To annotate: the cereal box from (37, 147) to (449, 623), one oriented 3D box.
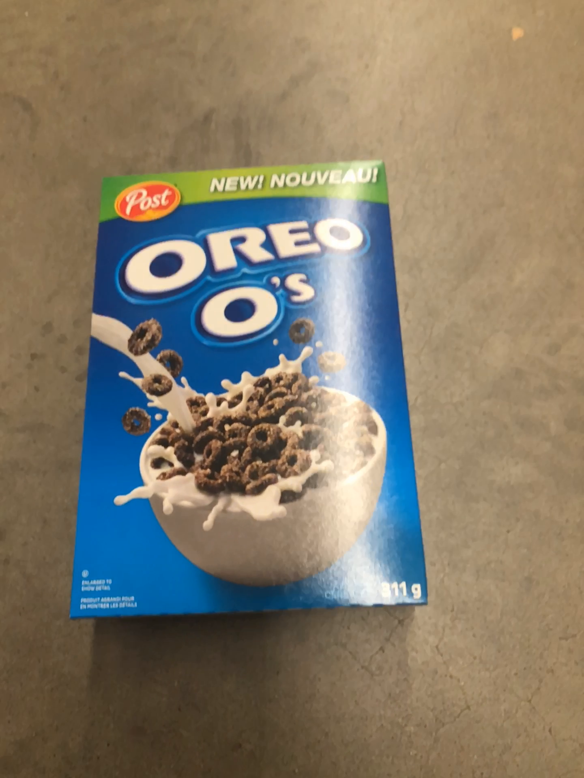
[{"bbox_3d":[-0.031,-0.007,0.408,0.210,0.070,0.280,-4,71,2],"label":"cereal box"}]
